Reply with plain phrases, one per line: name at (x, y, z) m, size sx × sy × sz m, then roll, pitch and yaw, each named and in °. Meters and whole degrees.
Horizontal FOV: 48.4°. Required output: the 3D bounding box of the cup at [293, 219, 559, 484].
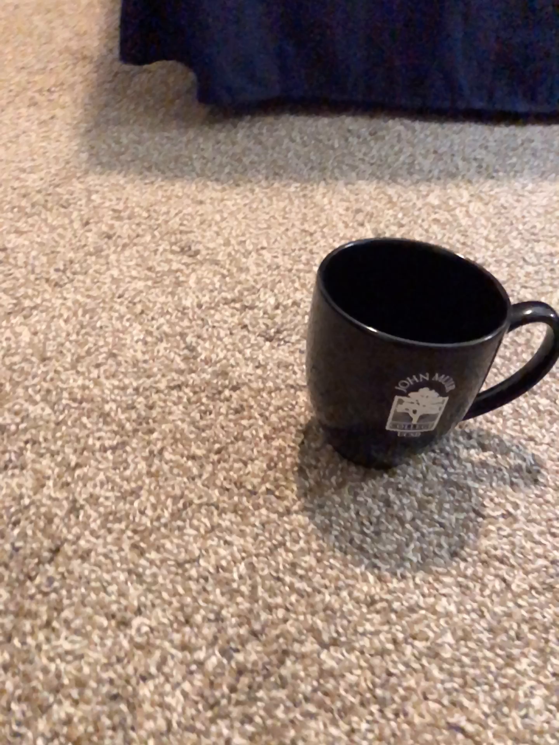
cup at (0.085, -0.014, 0.316) m, size 0.140 × 0.090 × 0.090 m, roll -4°, pitch 43°, yaw -8°
